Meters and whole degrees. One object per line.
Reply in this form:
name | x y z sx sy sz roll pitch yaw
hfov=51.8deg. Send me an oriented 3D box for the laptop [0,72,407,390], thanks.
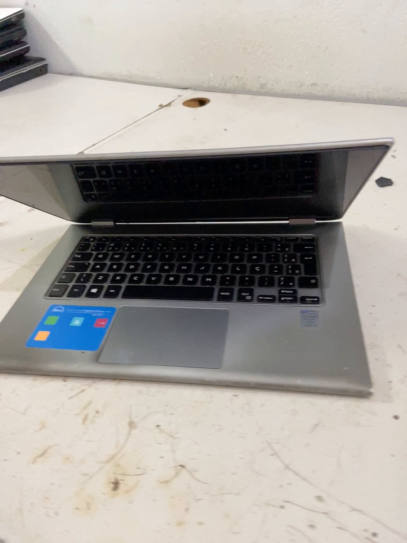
laptop | -0.031 -0.045 0.362 0.326 0.155 0.219 0 40 11
